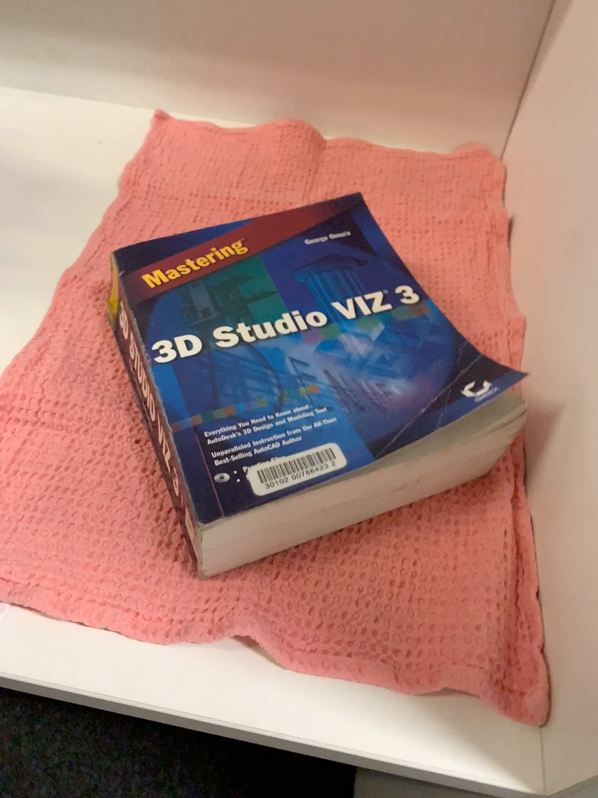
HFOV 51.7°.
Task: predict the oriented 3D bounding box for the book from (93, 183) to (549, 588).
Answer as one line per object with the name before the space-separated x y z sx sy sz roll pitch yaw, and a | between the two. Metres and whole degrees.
book | -0.003 -0.031 0.408 0.206 0.076 0.233 -15 53 -17
